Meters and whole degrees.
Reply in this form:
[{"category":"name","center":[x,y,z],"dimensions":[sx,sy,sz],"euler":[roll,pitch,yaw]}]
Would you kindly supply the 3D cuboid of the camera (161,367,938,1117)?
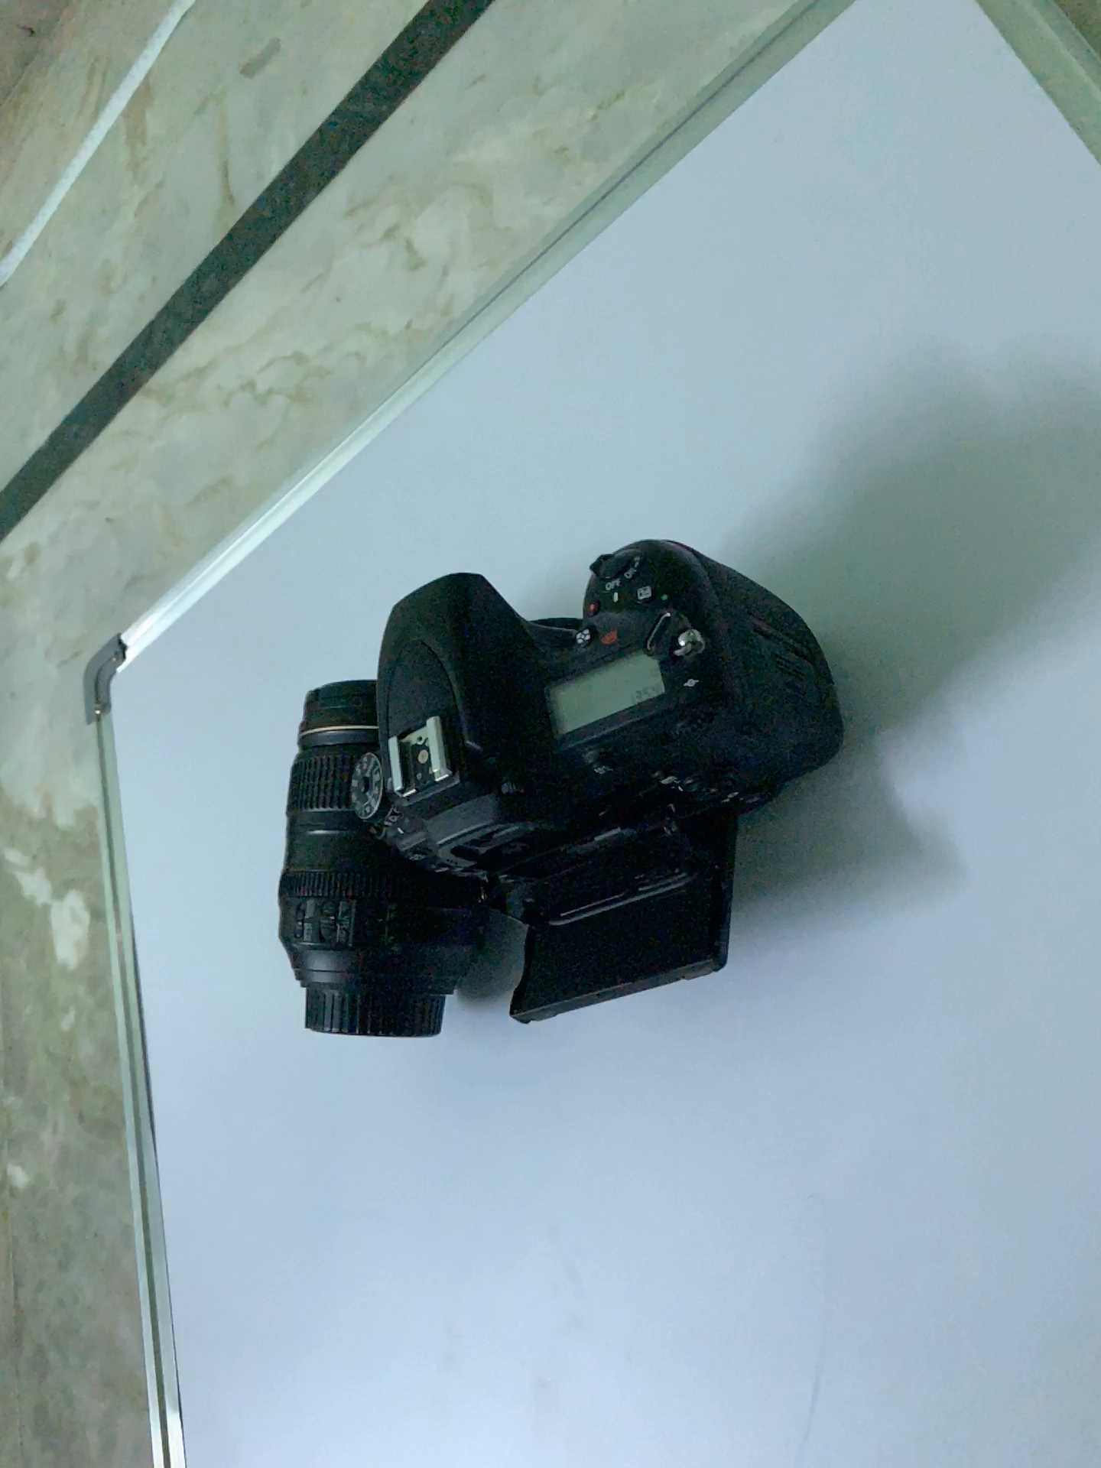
[{"category":"camera","center":[-0.021,0.023,0.401],"dimensions":[0.241,0.100,0.160],"euler":[-29,61,31]}]
